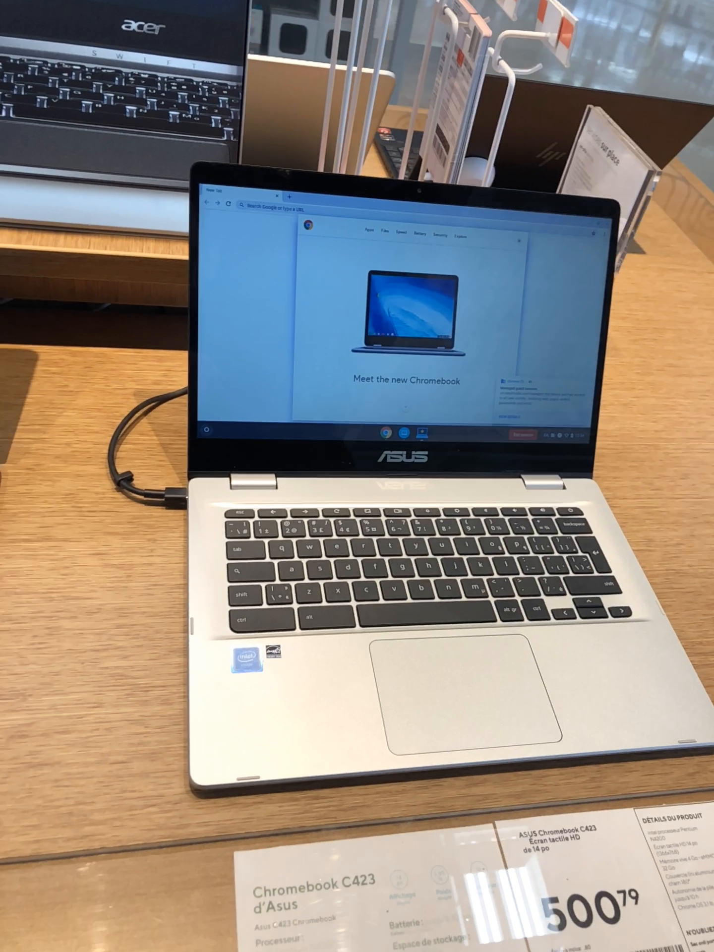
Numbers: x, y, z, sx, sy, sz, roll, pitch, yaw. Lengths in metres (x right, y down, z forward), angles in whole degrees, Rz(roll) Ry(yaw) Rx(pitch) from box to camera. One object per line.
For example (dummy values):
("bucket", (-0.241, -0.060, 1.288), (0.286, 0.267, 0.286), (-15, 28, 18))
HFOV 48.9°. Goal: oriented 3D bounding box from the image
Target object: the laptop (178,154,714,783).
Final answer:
("laptop", (0.045, -0.025, 0.486), (0.281, 0.186, 0.337), (0, 43, -16))
